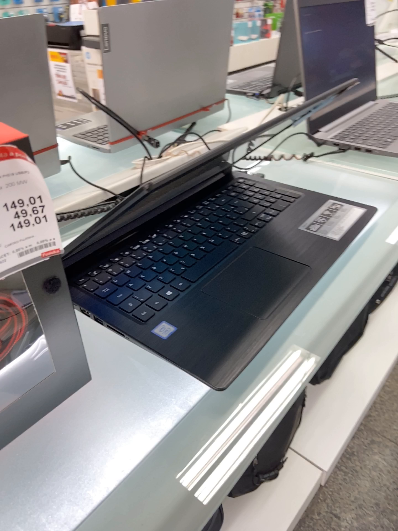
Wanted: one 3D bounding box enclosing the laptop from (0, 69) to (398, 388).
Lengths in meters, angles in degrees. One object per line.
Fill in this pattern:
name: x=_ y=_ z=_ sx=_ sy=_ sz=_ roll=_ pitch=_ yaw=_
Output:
laptop: x=0.031 y=-0.095 z=0.466 sx=0.239 sy=0.157 sz=0.372 roll=23 pitch=42 yaw=31
